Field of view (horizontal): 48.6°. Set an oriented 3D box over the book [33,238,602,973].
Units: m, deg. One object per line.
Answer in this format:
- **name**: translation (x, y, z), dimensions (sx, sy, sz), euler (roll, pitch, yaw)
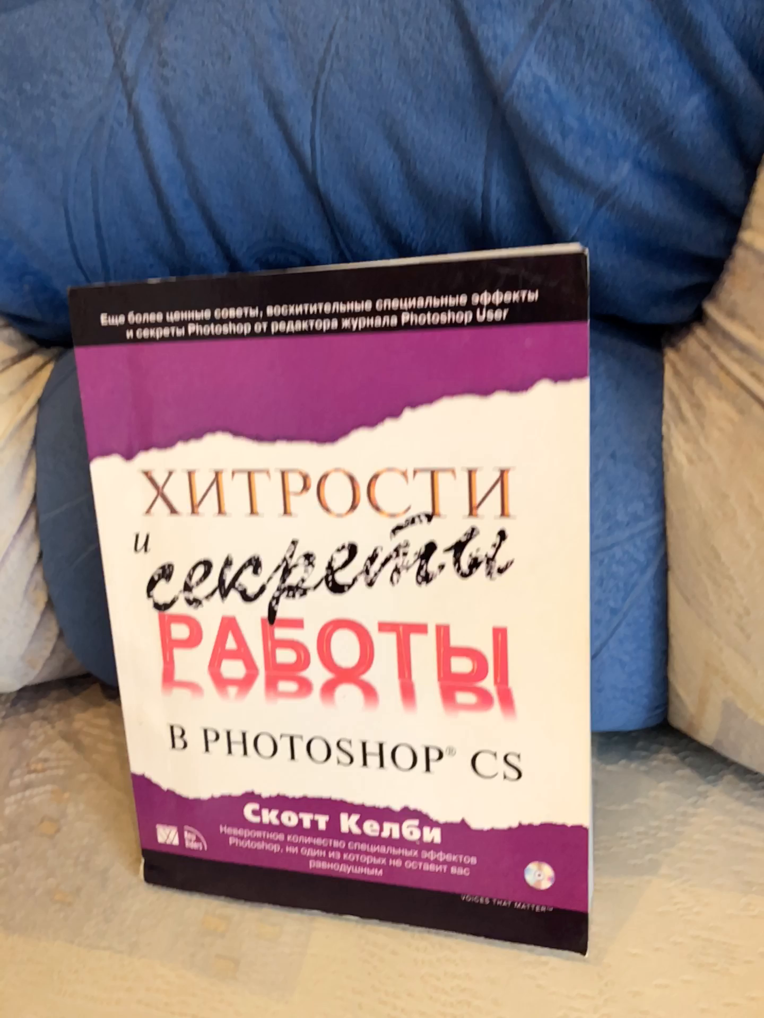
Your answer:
- **book**: translation (-0.021, 0.043, 0.339), dimensions (0.209, 0.271, 0.030), euler (0, 14, 17)
